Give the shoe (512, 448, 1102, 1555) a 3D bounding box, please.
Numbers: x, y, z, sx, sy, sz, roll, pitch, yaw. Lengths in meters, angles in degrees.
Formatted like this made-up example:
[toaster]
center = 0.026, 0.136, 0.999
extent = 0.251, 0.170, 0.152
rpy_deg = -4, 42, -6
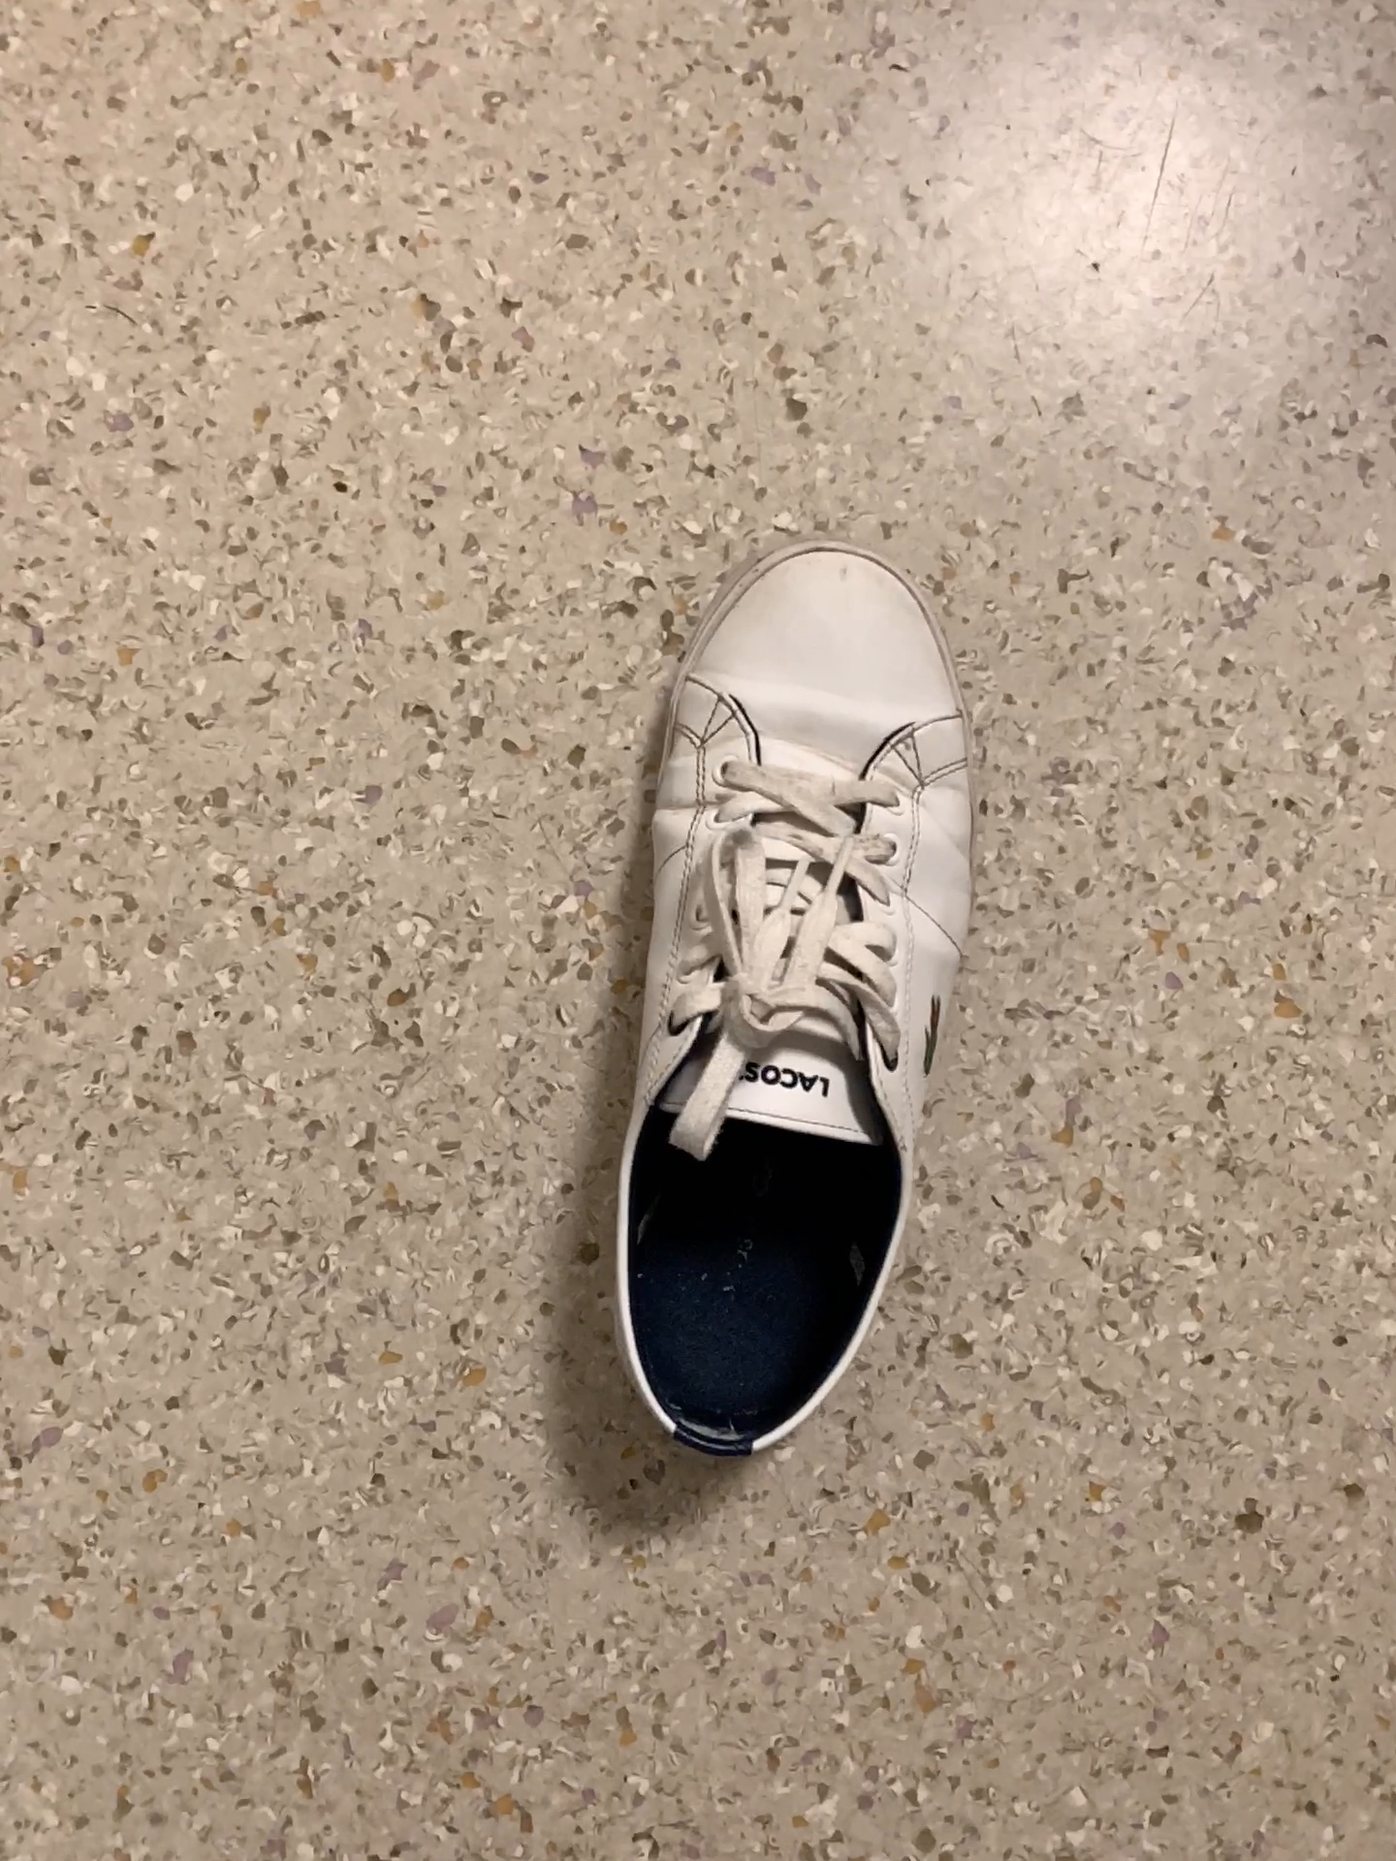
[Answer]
[shoe]
center = 0.027, 0.017, 0.386
extent = 0.100, 0.090, 0.250
rpy_deg = 10, 88, 0
